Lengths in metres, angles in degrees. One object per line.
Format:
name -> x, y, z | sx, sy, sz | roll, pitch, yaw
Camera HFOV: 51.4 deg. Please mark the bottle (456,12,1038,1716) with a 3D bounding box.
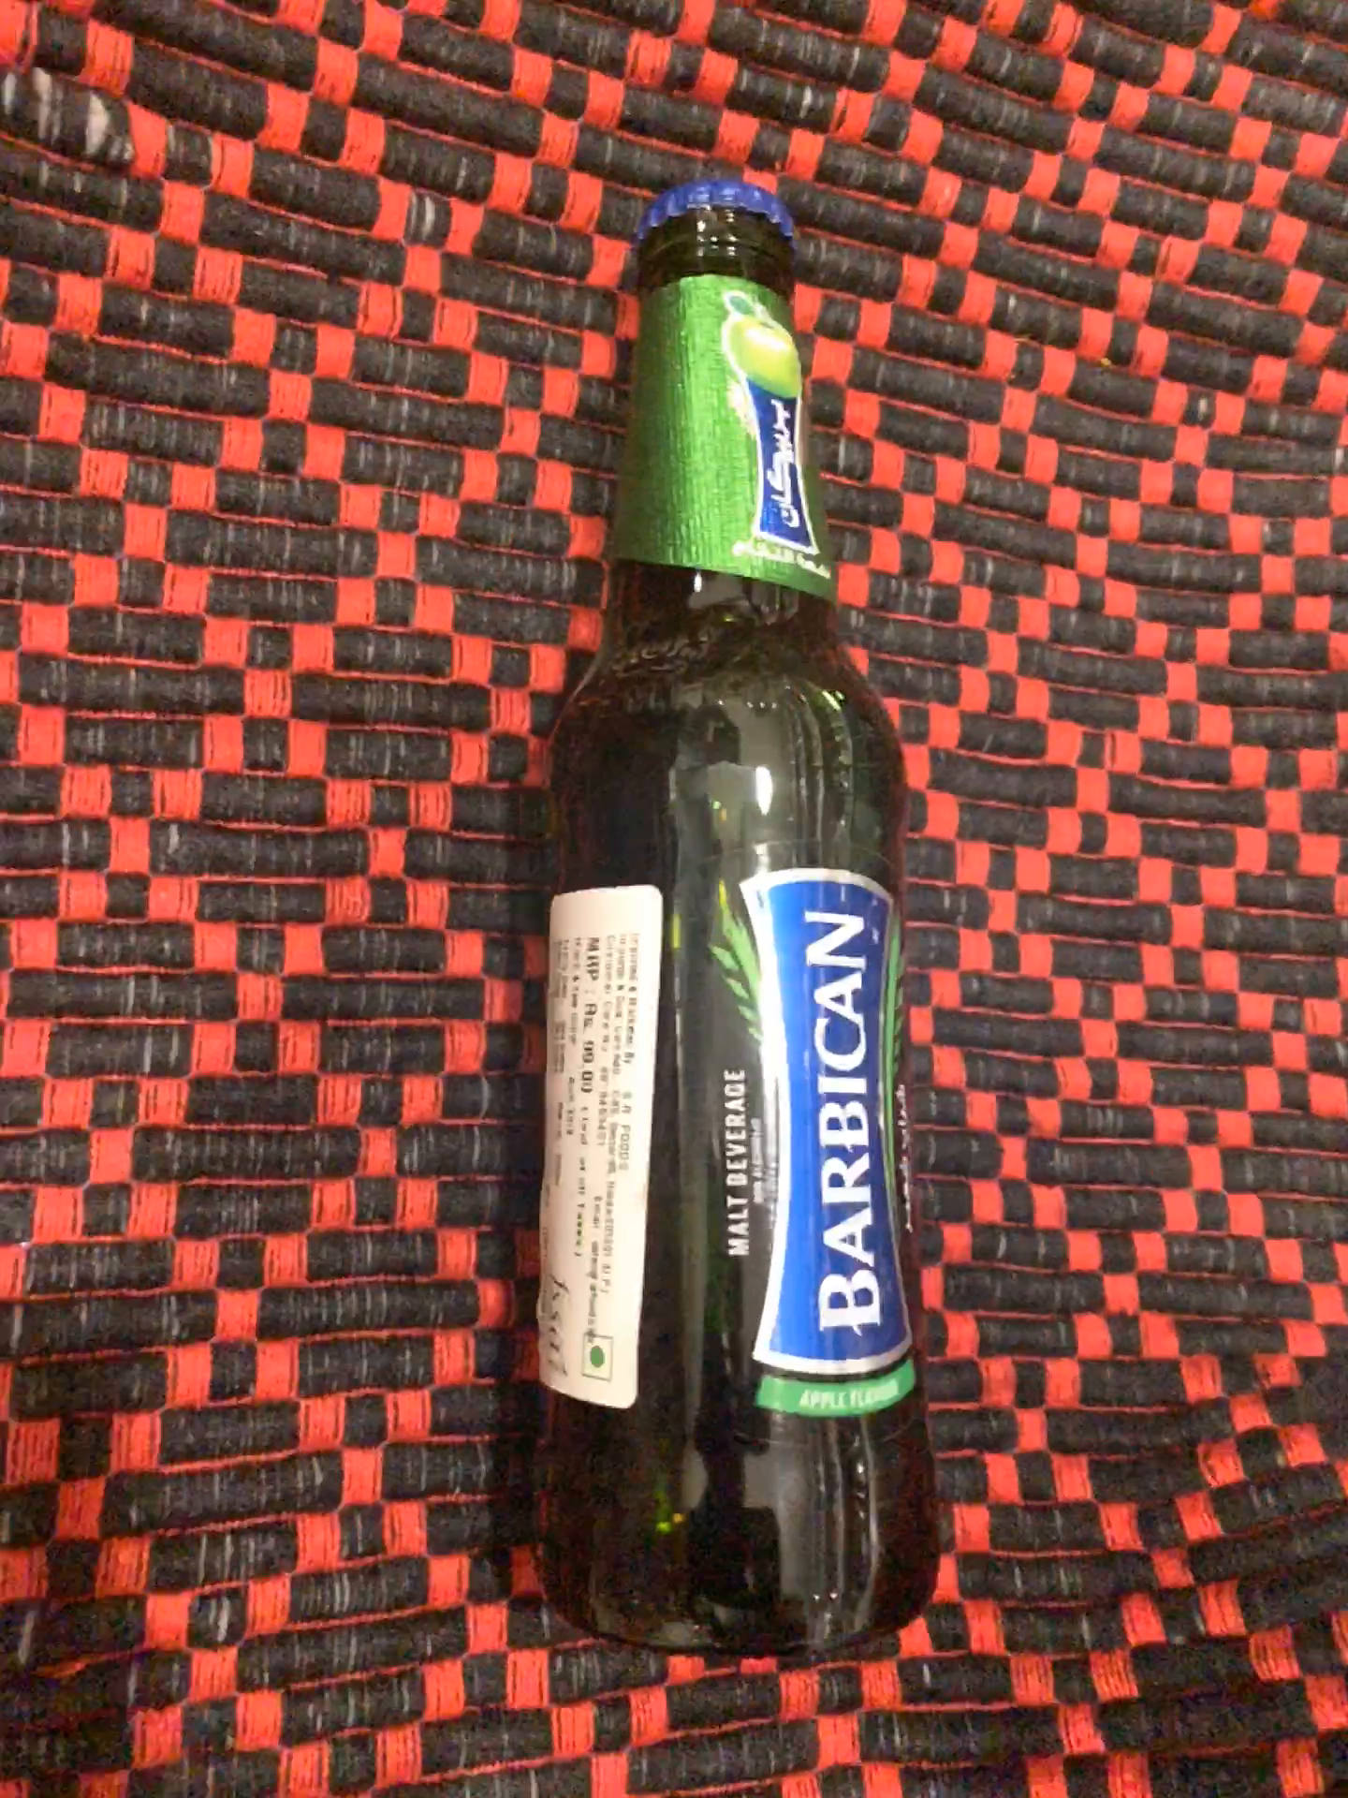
bottle -> 0.005, -0.013, 0.226 | 0.070, 0.050, 0.238 | 3, 78, -21
